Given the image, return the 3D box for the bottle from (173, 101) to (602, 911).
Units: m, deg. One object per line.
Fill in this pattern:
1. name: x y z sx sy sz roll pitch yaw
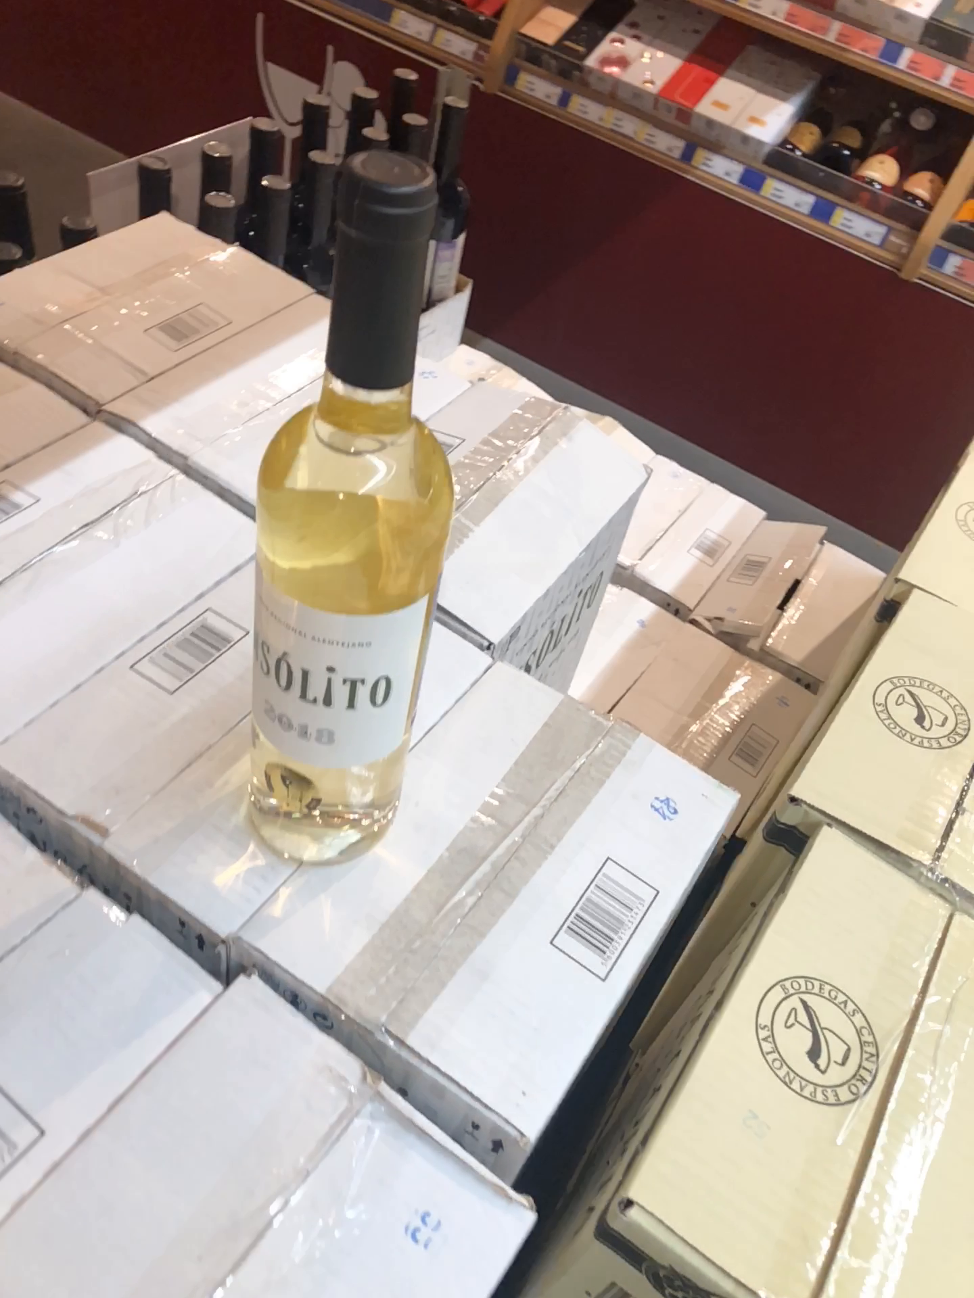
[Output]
1. bottle: -0.053 -0.030 0.413 0.090 0.298 0.091 8 46 -8
